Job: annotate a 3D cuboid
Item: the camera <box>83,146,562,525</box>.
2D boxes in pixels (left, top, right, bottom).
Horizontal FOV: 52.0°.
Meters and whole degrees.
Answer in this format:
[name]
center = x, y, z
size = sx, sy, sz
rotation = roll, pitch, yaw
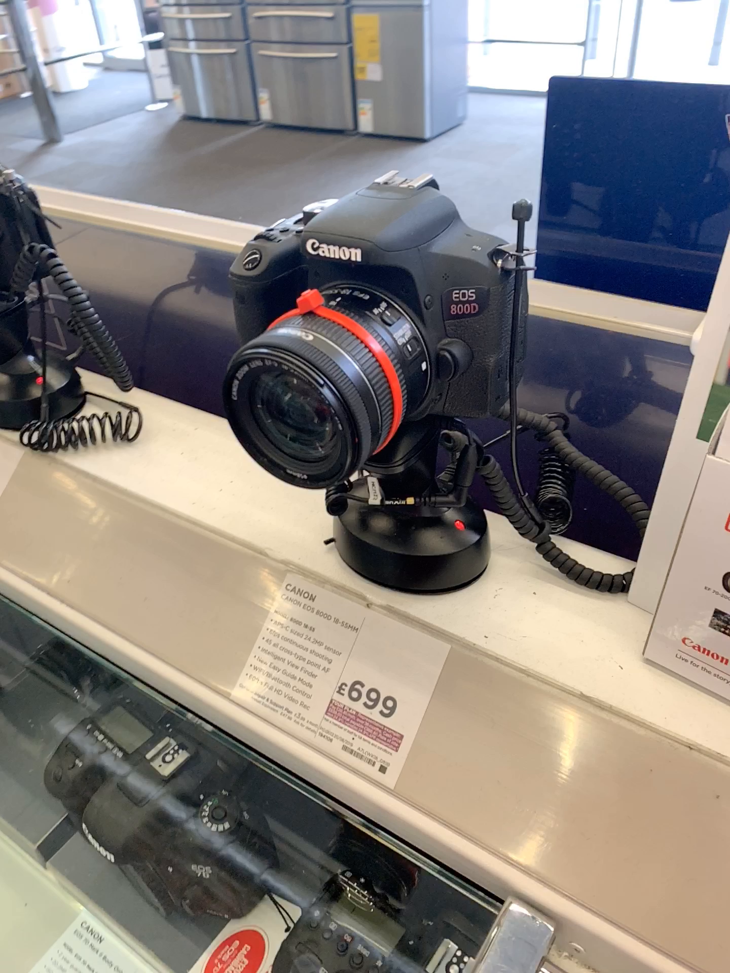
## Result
[camera]
center = -0.008, -0.078, 0.325
size = 0.140, 0.089, 0.141
rotation = 15, 42, 24
